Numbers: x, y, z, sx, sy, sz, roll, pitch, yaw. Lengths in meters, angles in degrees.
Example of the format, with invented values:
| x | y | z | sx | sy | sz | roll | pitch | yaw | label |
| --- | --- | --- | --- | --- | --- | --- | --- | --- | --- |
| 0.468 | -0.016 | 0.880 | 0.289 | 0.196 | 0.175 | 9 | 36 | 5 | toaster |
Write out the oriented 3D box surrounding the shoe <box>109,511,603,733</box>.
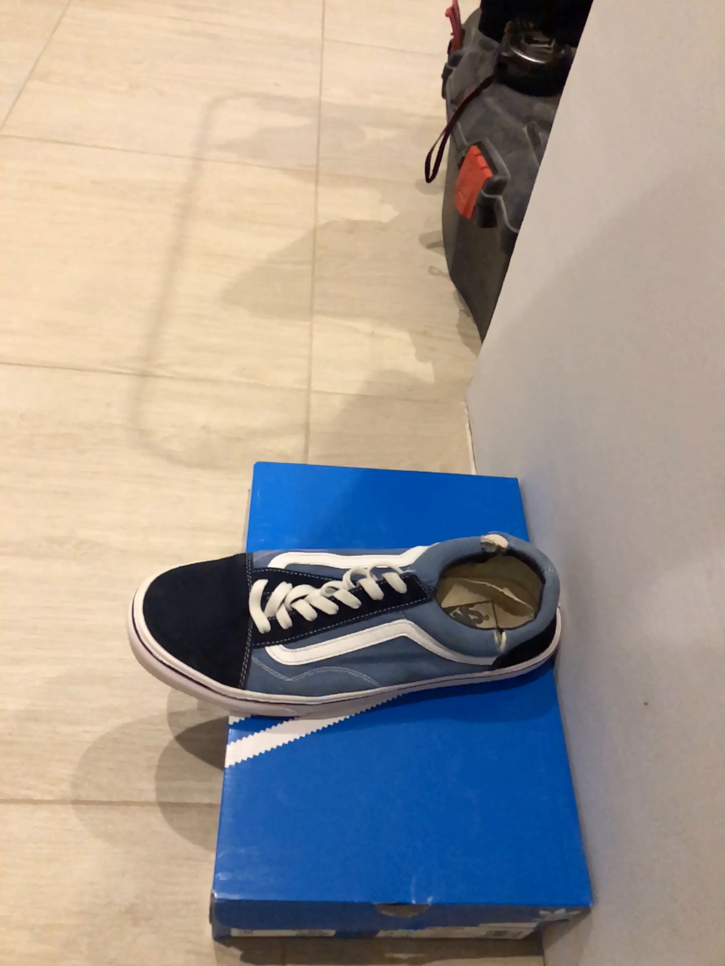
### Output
| x | y | z | sx | sy | sz | roll | pitch | yaw | label |
| --- | --- | --- | --- | --- | --- | --- | --- | --- | --- |
| -0.006 | 0.089 | 0.510 | 0.280 | 0.079 | 0.111 | 1 | 51 | -9 | shoe |
